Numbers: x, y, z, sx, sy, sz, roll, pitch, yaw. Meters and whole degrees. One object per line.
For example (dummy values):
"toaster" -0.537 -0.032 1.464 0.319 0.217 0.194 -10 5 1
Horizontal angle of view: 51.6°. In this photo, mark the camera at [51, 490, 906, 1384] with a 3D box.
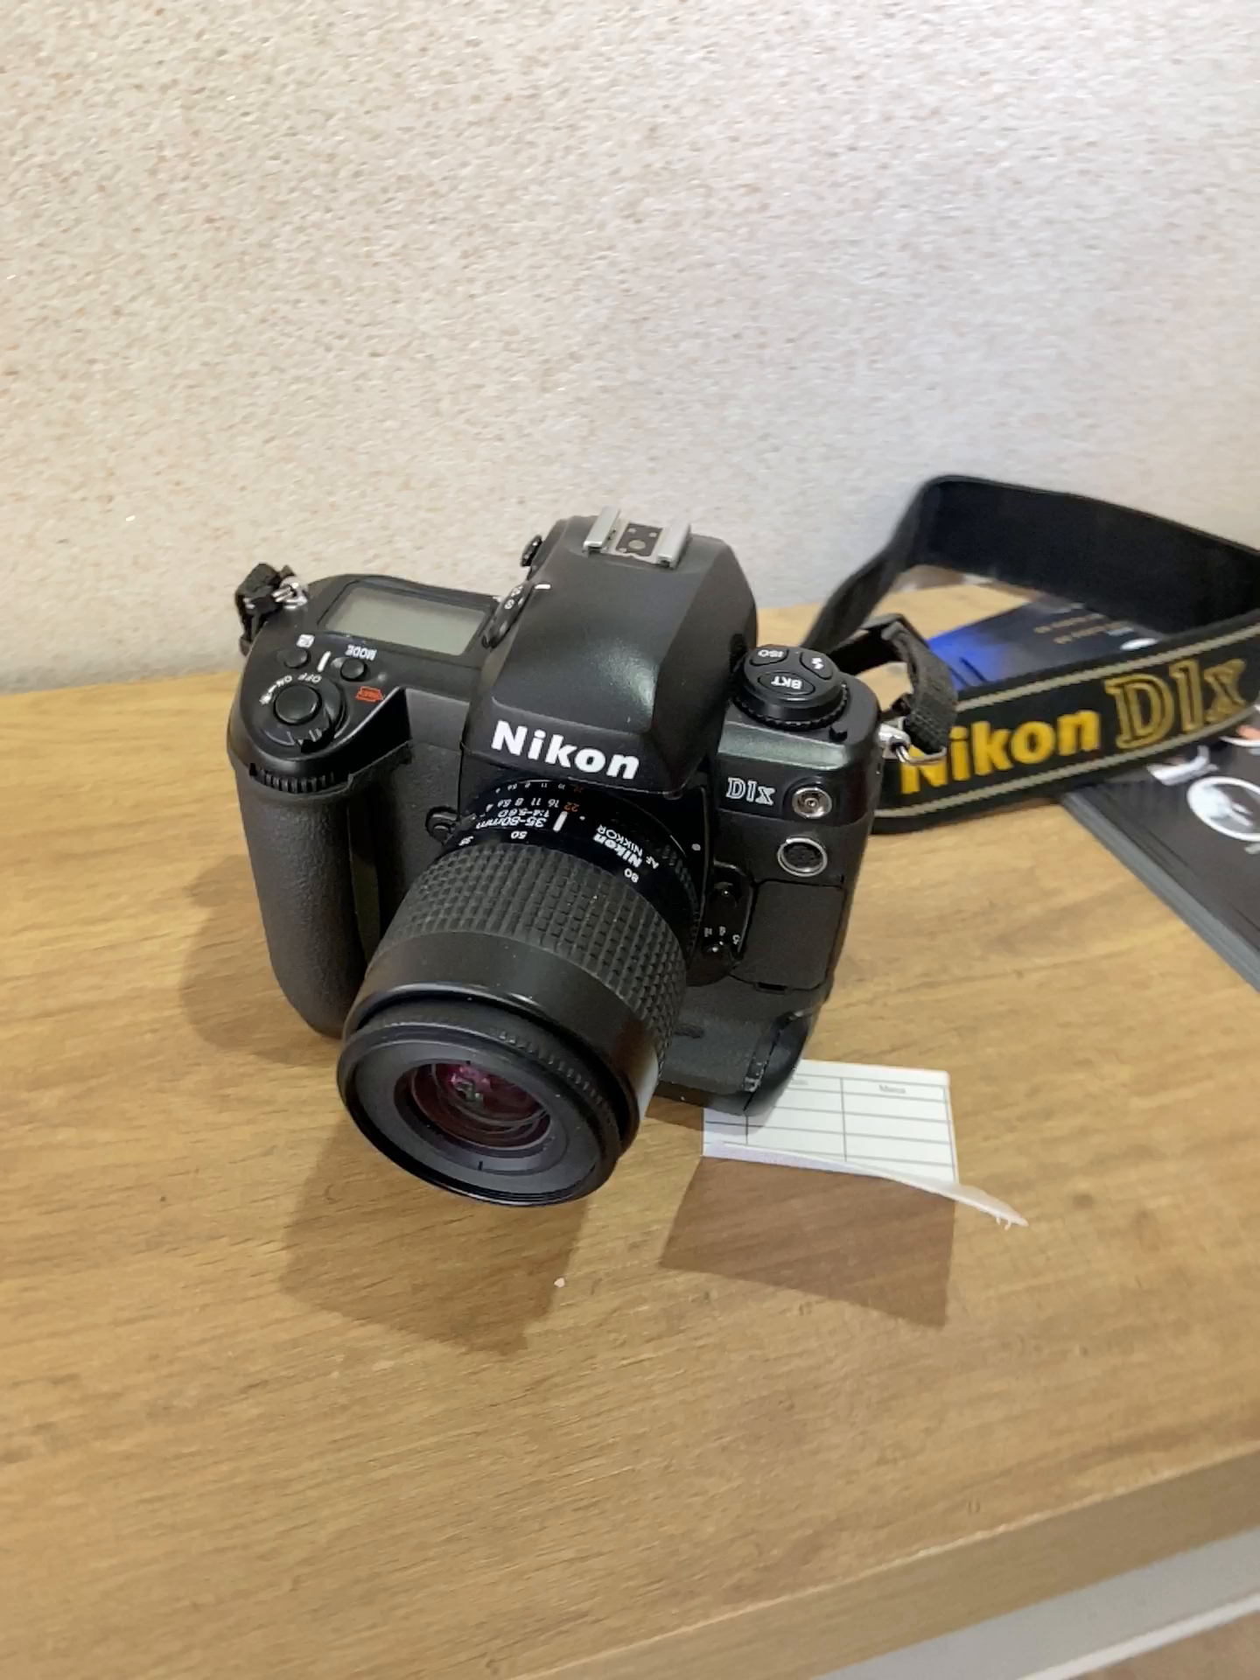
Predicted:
"camera" -0.020 0.017 0.335 0.150 0.129 0.161 10 44 7
